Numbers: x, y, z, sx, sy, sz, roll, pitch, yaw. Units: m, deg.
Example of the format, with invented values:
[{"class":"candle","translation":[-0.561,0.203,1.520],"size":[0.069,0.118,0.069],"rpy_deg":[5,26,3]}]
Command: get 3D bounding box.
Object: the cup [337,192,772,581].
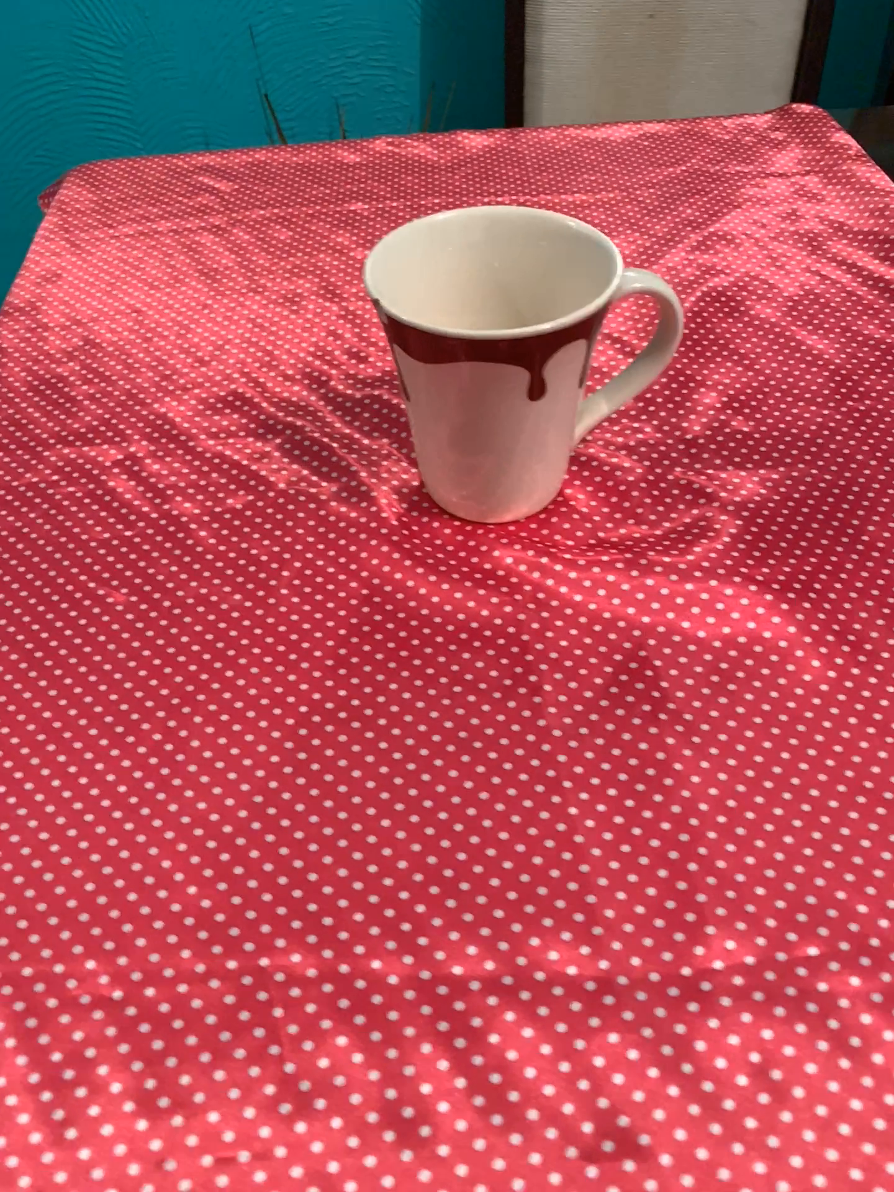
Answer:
[{"class":"cup","translation":[0.035,-0.086,0.366],"size":[0.130,0.090,0.100],"rpy_deg":[-13,48,-9]}]
